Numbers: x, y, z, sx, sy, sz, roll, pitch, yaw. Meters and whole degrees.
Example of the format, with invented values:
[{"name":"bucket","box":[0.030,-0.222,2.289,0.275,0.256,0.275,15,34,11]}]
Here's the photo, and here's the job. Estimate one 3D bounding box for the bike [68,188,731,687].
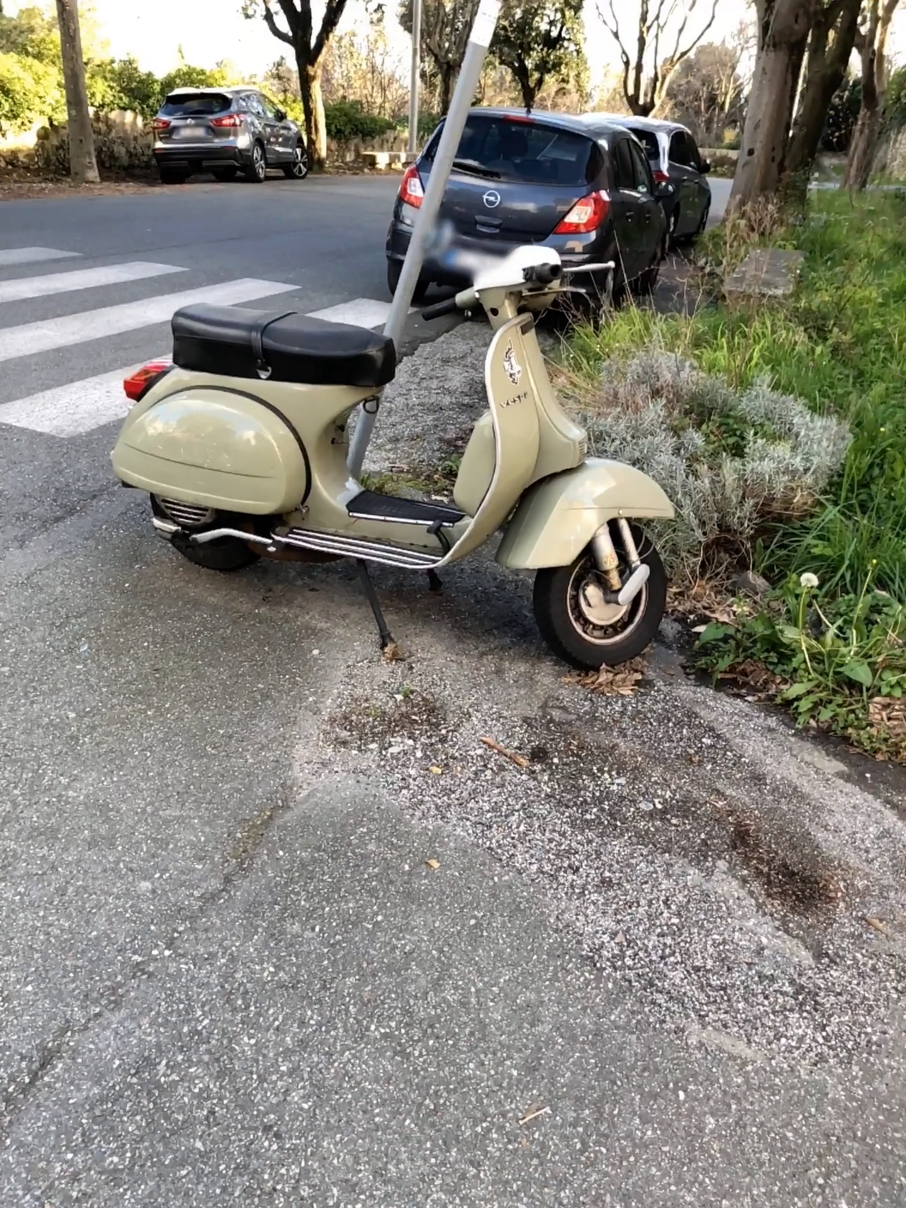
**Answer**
[{"name":"bike","box":[-0.132,-0.485,2.589,1.441,1.028,0.624,9,29,14]}]
